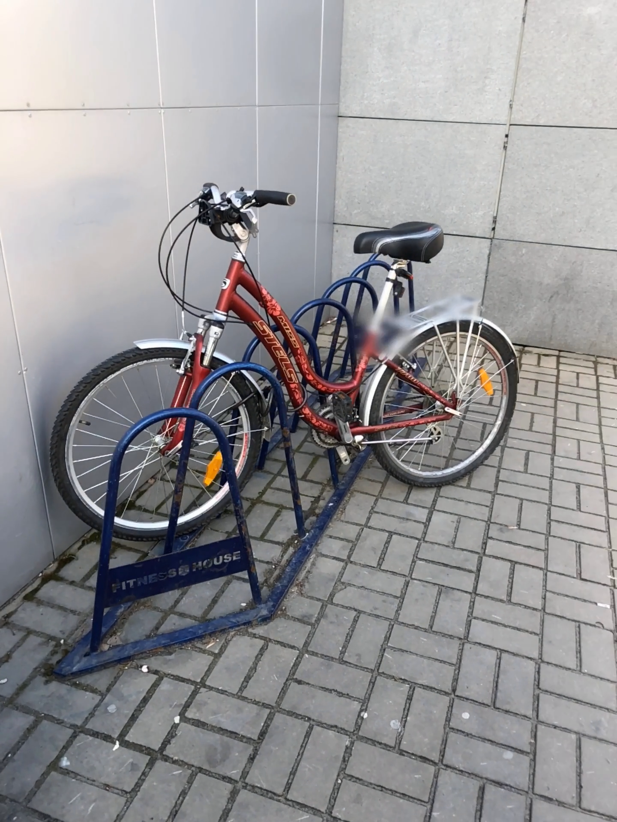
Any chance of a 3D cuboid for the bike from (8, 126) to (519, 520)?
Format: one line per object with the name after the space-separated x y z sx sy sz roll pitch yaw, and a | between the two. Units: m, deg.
-0.148 -0.281 2.131 1.305 0.973 0.598 -4 25 -21 | bike
